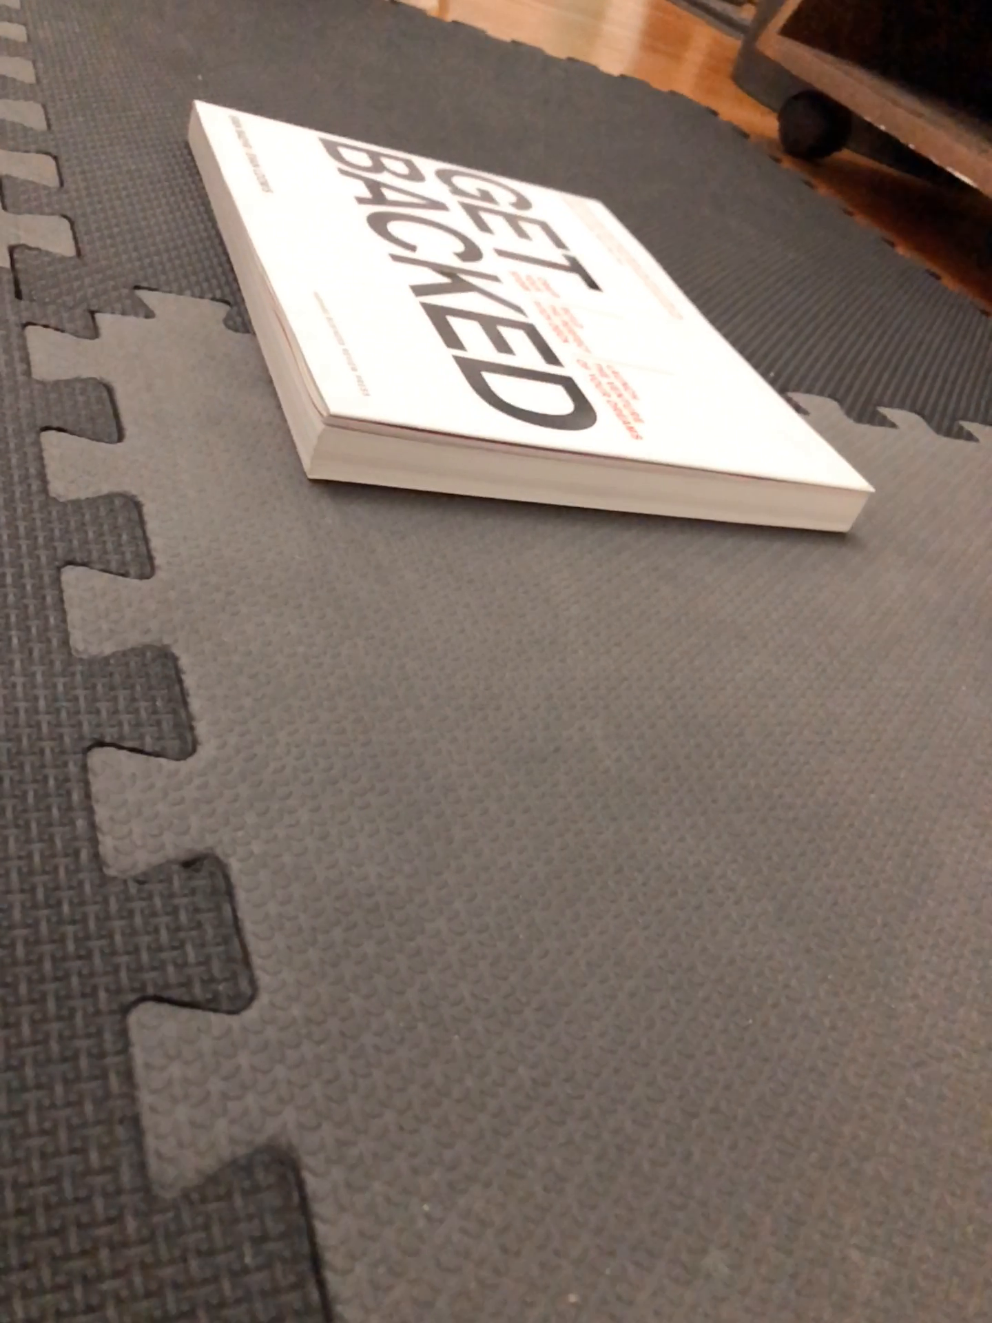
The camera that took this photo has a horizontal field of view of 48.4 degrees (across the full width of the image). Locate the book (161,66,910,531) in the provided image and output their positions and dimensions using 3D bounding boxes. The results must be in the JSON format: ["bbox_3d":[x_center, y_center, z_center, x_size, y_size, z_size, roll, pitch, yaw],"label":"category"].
[{"bbox_3d":[-0.001,-0.142,0.411,0.210,0.020,0.261,1,42,-26],"label":"book"}]
